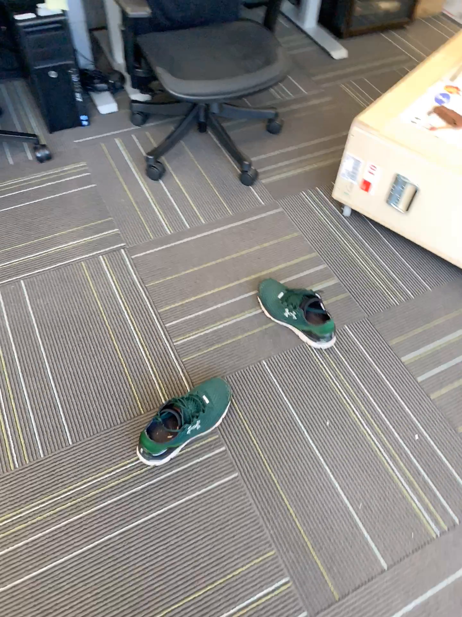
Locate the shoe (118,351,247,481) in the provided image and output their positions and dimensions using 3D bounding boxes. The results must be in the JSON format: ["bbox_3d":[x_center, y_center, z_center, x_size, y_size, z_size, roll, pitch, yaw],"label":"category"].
[{"bbox_3d":[-0.119,0.275,1.235,0.310,0.129,0.130,-37,64,-25],"label":"shoe"}]

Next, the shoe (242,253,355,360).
[{"bbox_3d":[0.197,-0.009,1.448,0.311,0.129,0.130,38,61,22],"label":"shoe"}]
